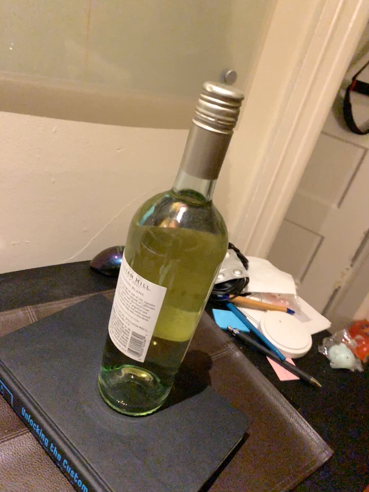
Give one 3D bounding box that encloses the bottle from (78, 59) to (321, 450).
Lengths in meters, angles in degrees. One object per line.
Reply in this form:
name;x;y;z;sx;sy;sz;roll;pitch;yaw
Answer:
bottle;-0.011;0.024;0.315;0.090;0.298;0.090;12;30;-7
